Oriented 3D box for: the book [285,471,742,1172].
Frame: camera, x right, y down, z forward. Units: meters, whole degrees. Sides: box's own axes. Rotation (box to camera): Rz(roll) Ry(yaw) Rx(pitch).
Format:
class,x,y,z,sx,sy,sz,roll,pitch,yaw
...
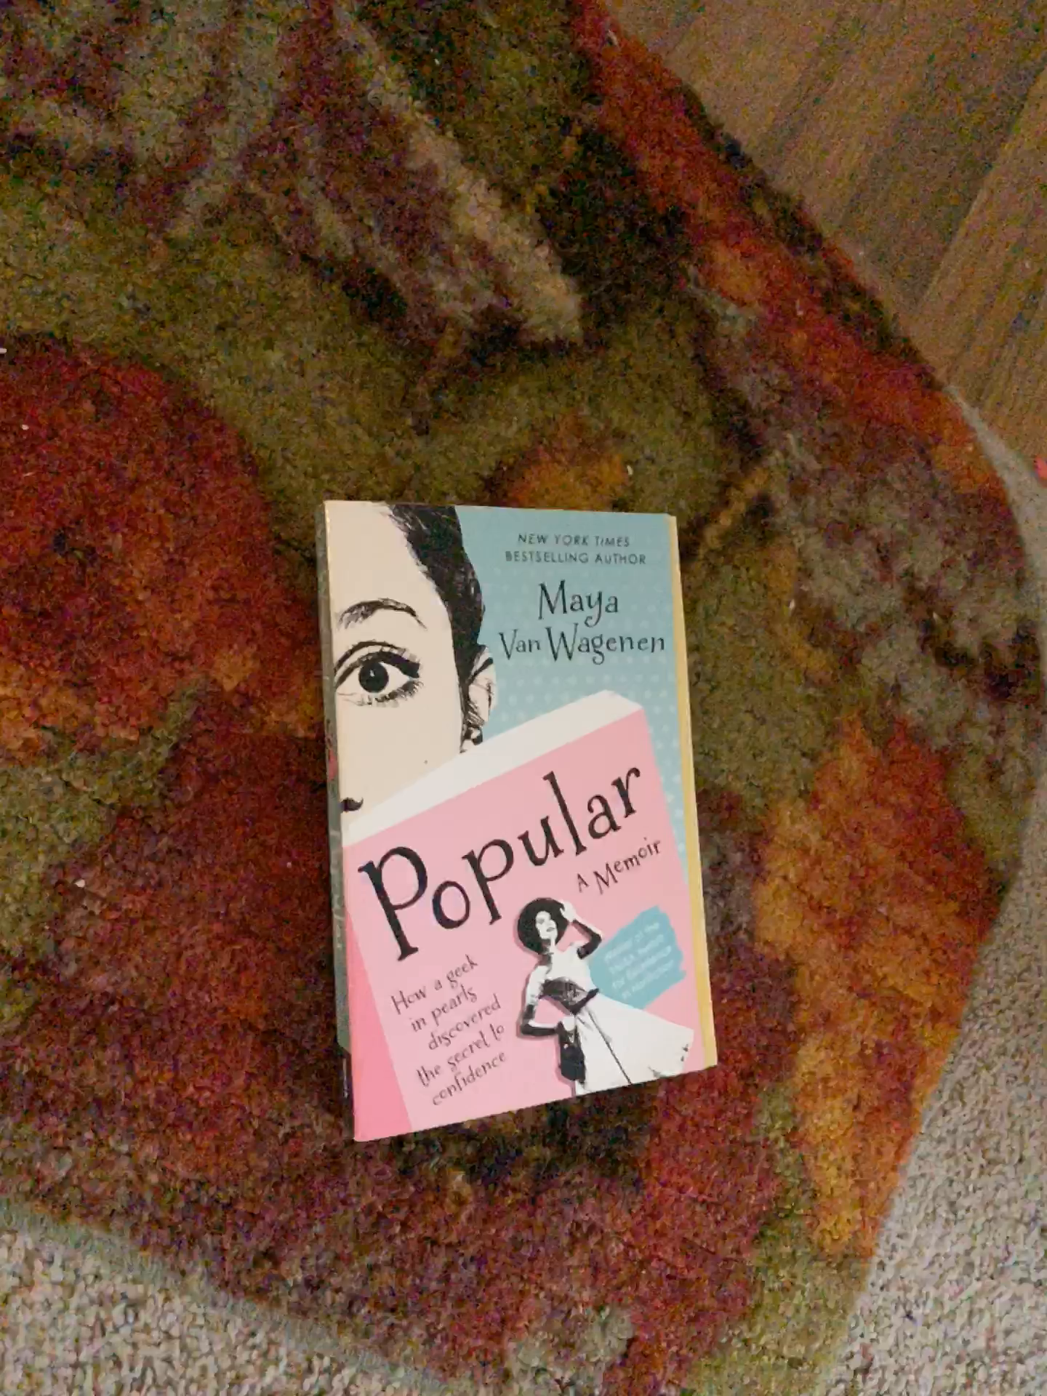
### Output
class,x,y,z,sx,sy,sz,roll,pitch,yaw
book,-0.001,0.035,0.385,0.150,0.030,0.220,-3,87,-25
